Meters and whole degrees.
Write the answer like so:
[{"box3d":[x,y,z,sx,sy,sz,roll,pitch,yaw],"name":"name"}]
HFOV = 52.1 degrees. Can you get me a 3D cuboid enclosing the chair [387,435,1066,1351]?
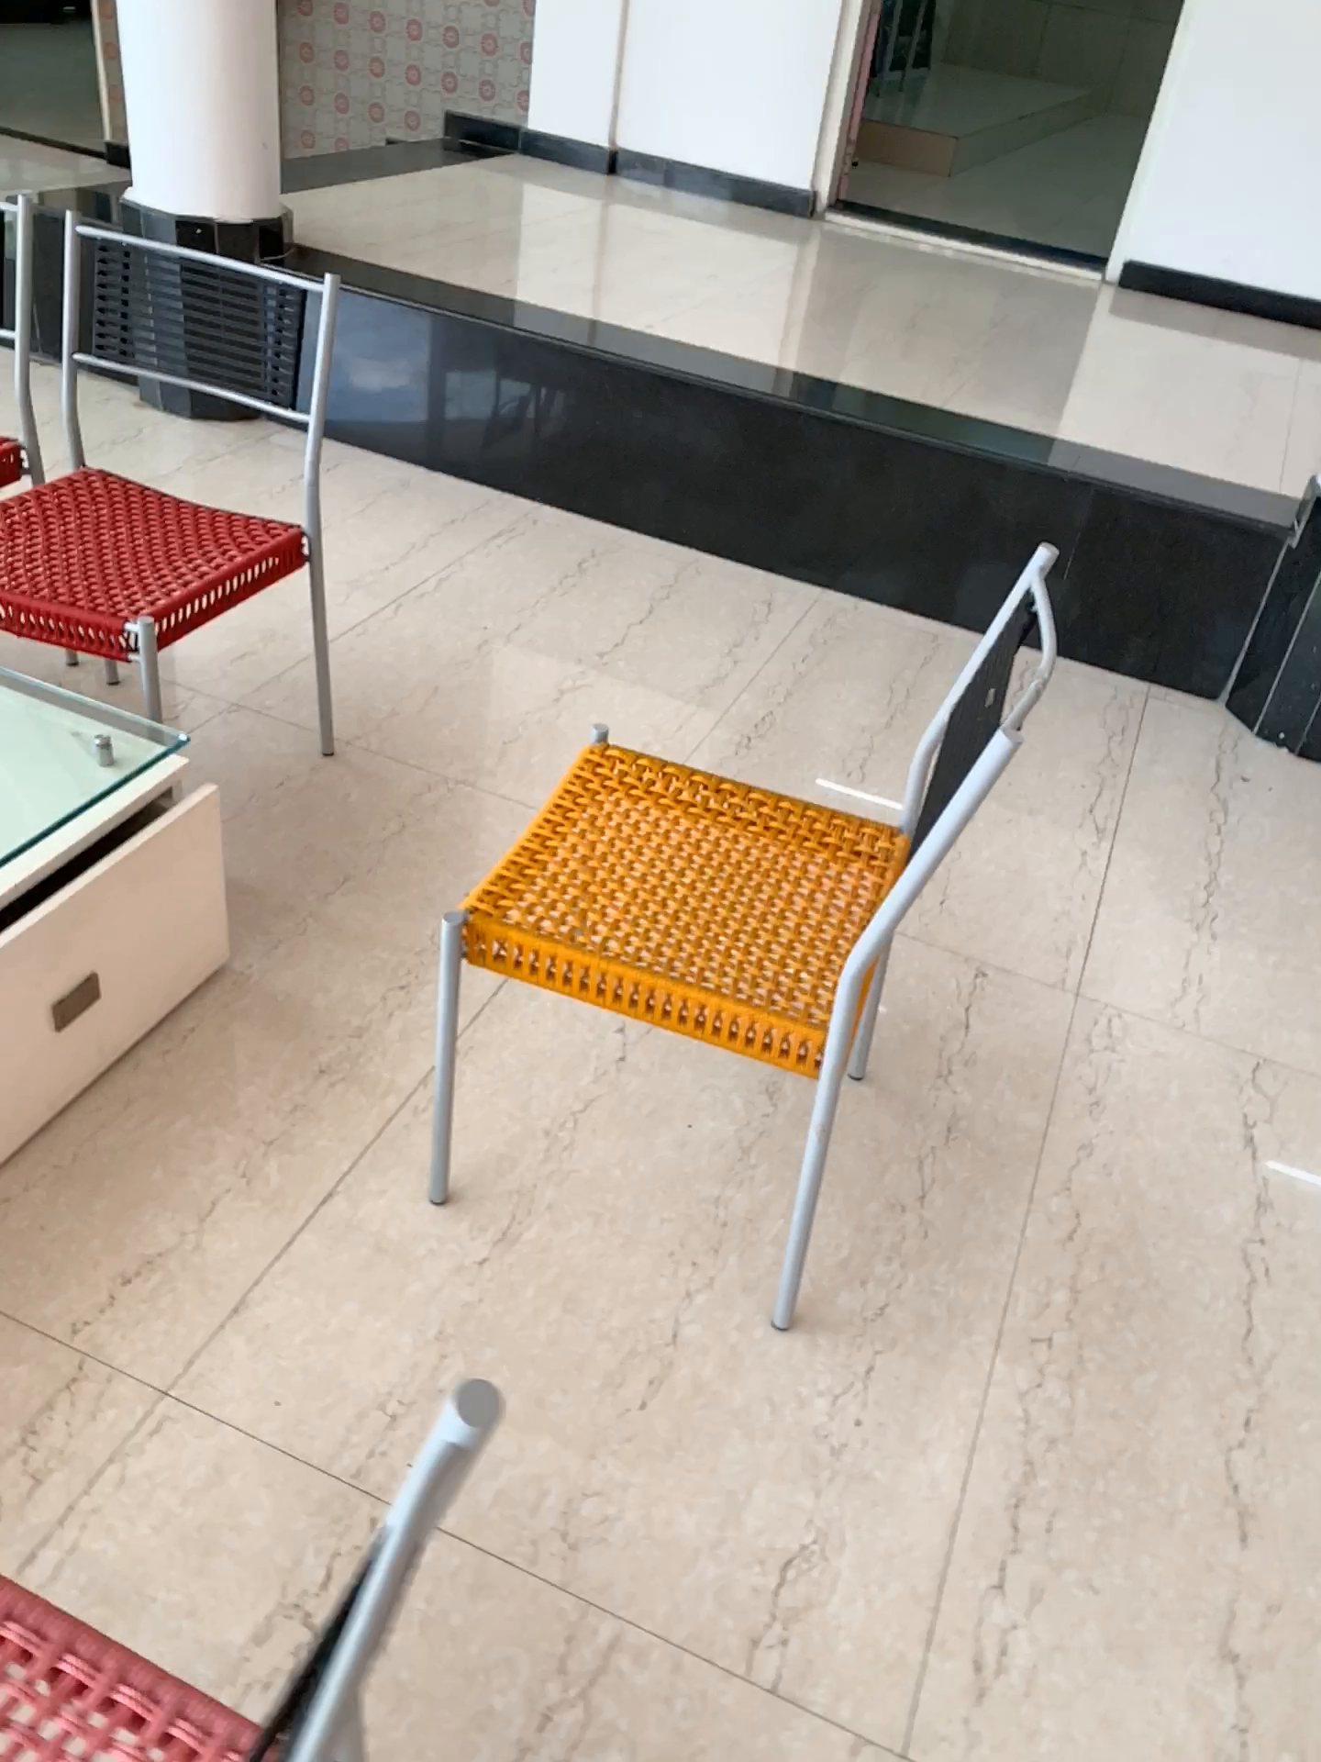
[{"box3d":[0.060,-0.005,1.521,0.520,0.744,0.534,18,36,12],"name":"chair"}]
